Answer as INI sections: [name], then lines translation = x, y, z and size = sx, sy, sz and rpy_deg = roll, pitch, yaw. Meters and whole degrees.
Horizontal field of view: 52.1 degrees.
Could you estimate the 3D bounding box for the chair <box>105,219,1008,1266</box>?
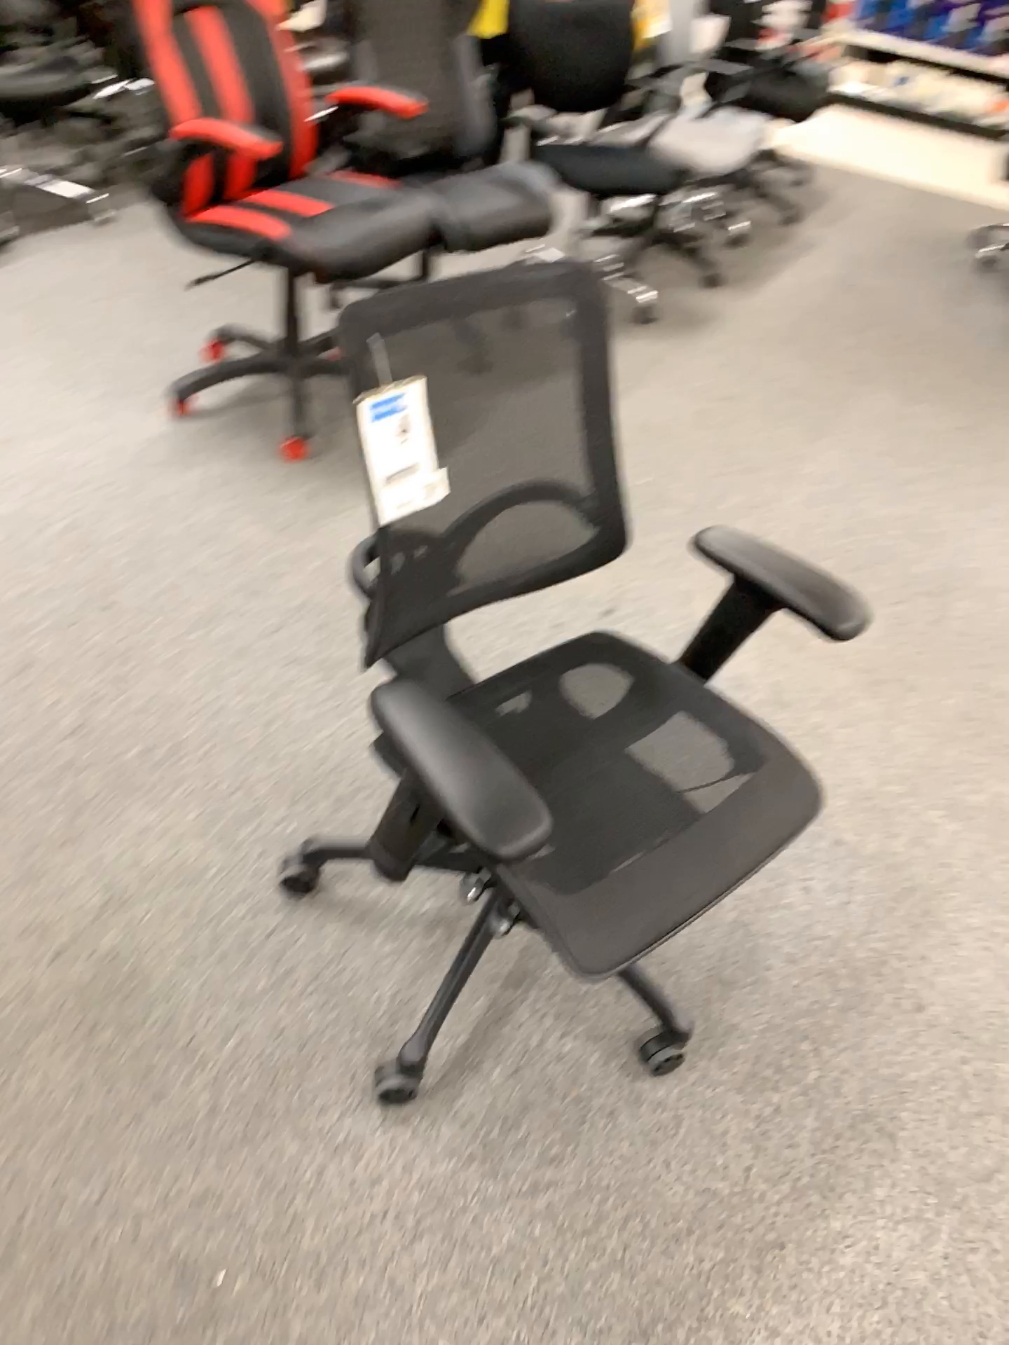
[chair]
translation = 0.101, 0.015, 1.317
size = 0.762, 0.806, 0.762
rpy_deg = 34, 47, 27
